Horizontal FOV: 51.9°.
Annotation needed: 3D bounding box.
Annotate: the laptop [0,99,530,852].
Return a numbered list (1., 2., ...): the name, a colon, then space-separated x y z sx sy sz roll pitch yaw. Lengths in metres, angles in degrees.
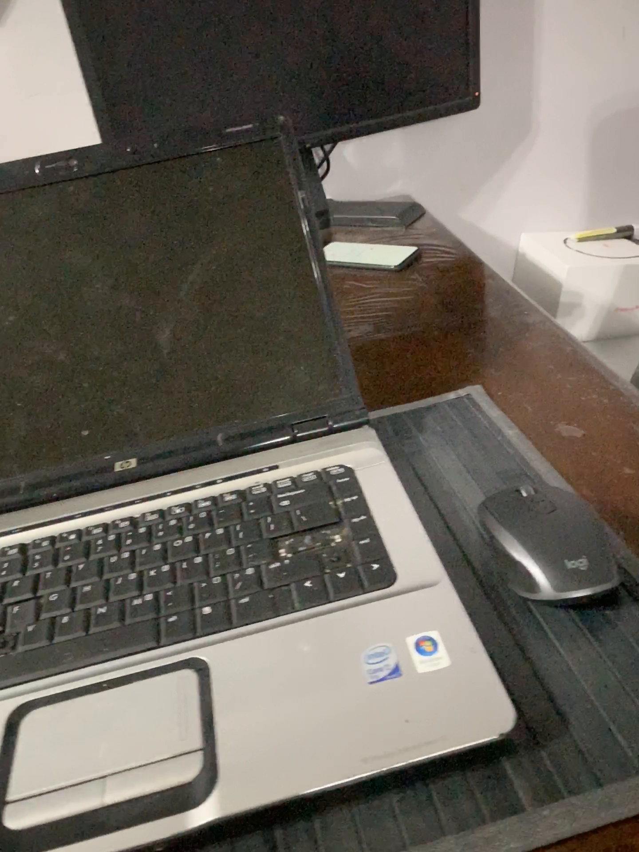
1. laptop: -0.140 -0.024 0.370 0.349 0.186 0.404 -13 34 -5
